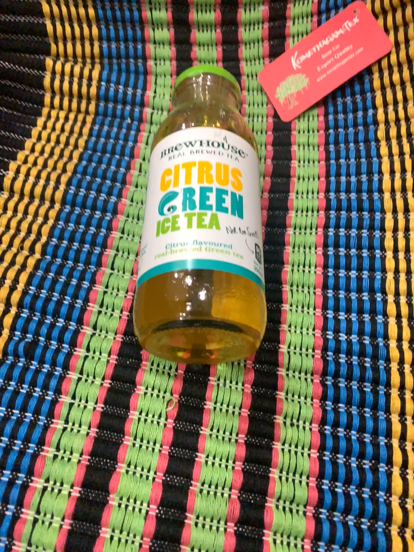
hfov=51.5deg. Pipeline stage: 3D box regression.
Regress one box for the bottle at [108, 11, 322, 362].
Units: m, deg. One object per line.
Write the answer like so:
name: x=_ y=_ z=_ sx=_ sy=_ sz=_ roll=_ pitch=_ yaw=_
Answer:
bottle: x=0.008 y=-0.059 z=0.240 sx=0.080 sy=0.070 sz=0.190 roll=6 pitch=57 yaw=-1
